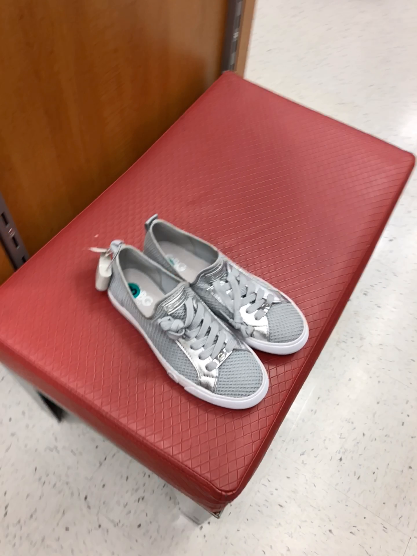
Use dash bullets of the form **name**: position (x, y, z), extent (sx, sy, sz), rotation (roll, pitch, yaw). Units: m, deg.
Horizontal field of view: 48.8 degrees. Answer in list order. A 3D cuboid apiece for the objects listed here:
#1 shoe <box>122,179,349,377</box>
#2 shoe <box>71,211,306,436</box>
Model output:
- **shoe**: position (0.028, -0.004, 0.606), extent (0.268, 0.095, 0.106), rotation (33, 61, 15)
- **shoe**: position (-0.031, 0.050, 0.567), extent (0.268, 0.096, 0.106), rotation (38, 62, 18)
